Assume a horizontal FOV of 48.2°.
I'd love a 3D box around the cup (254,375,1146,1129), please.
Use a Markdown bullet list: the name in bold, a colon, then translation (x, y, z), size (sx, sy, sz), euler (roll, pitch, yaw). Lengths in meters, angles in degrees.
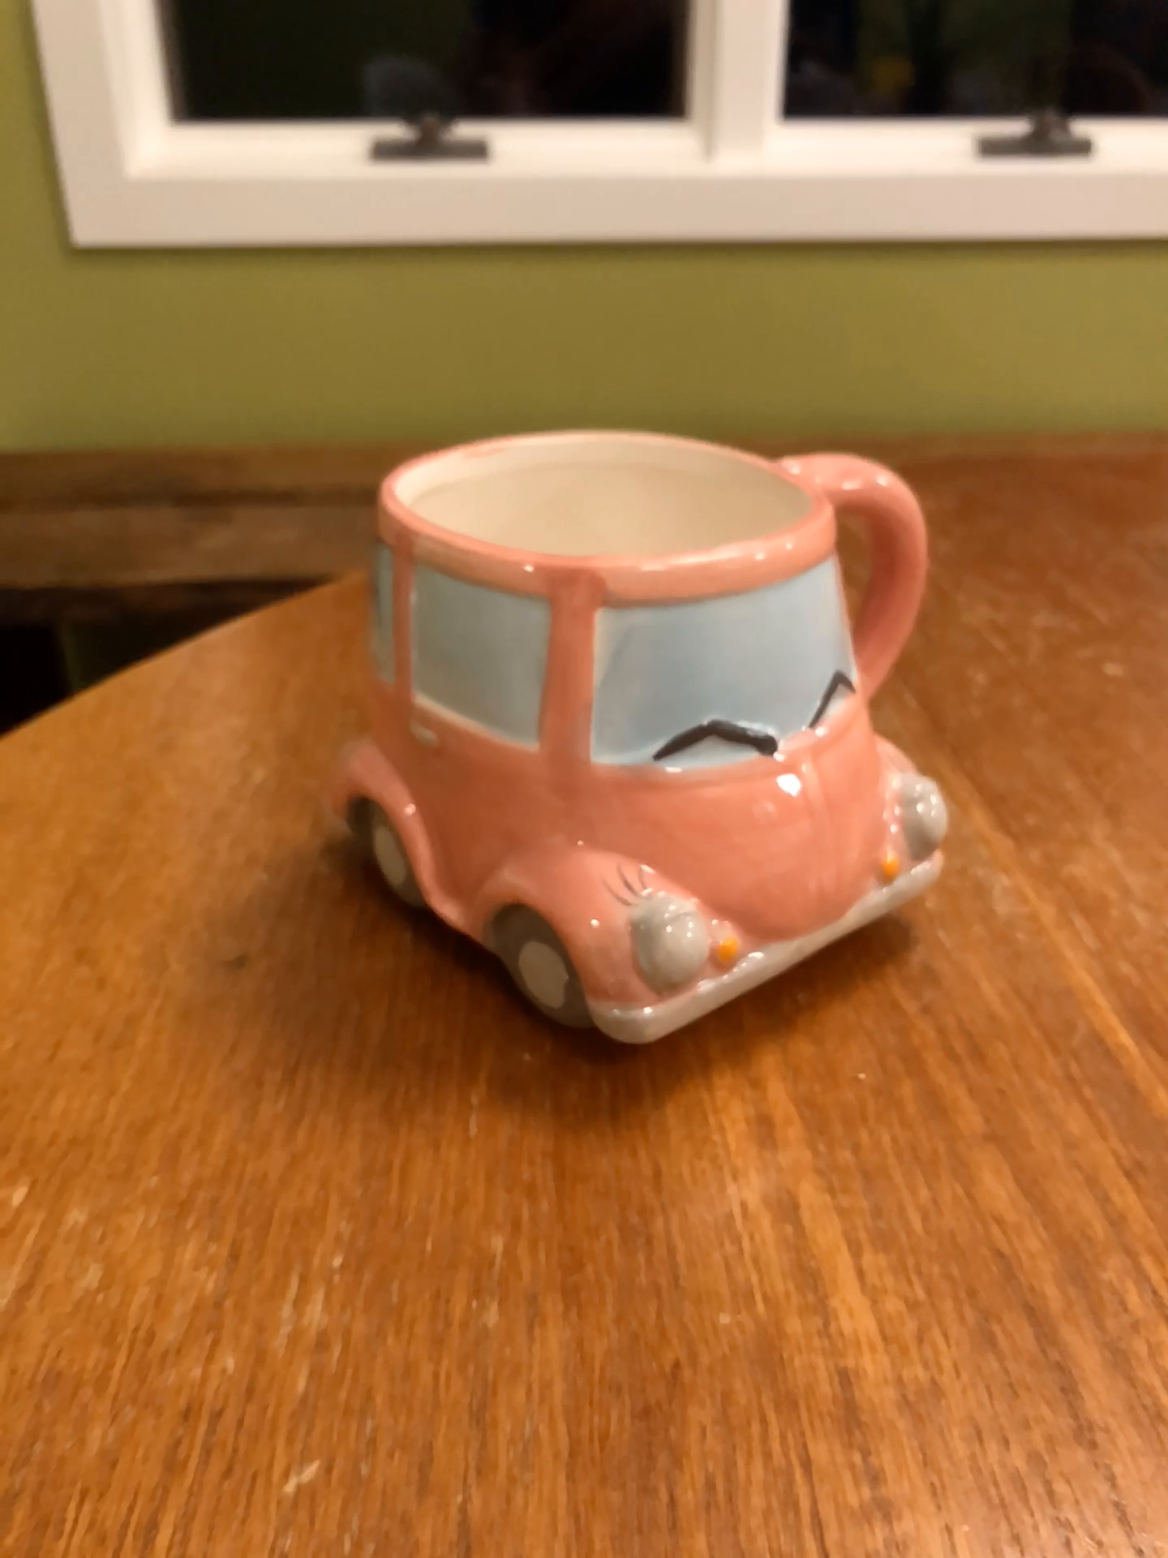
- **cup**: translation (0.024, -0.023, 0.300), size (0.140, 0.097, 0.128), euler (-1, 28, 0)
